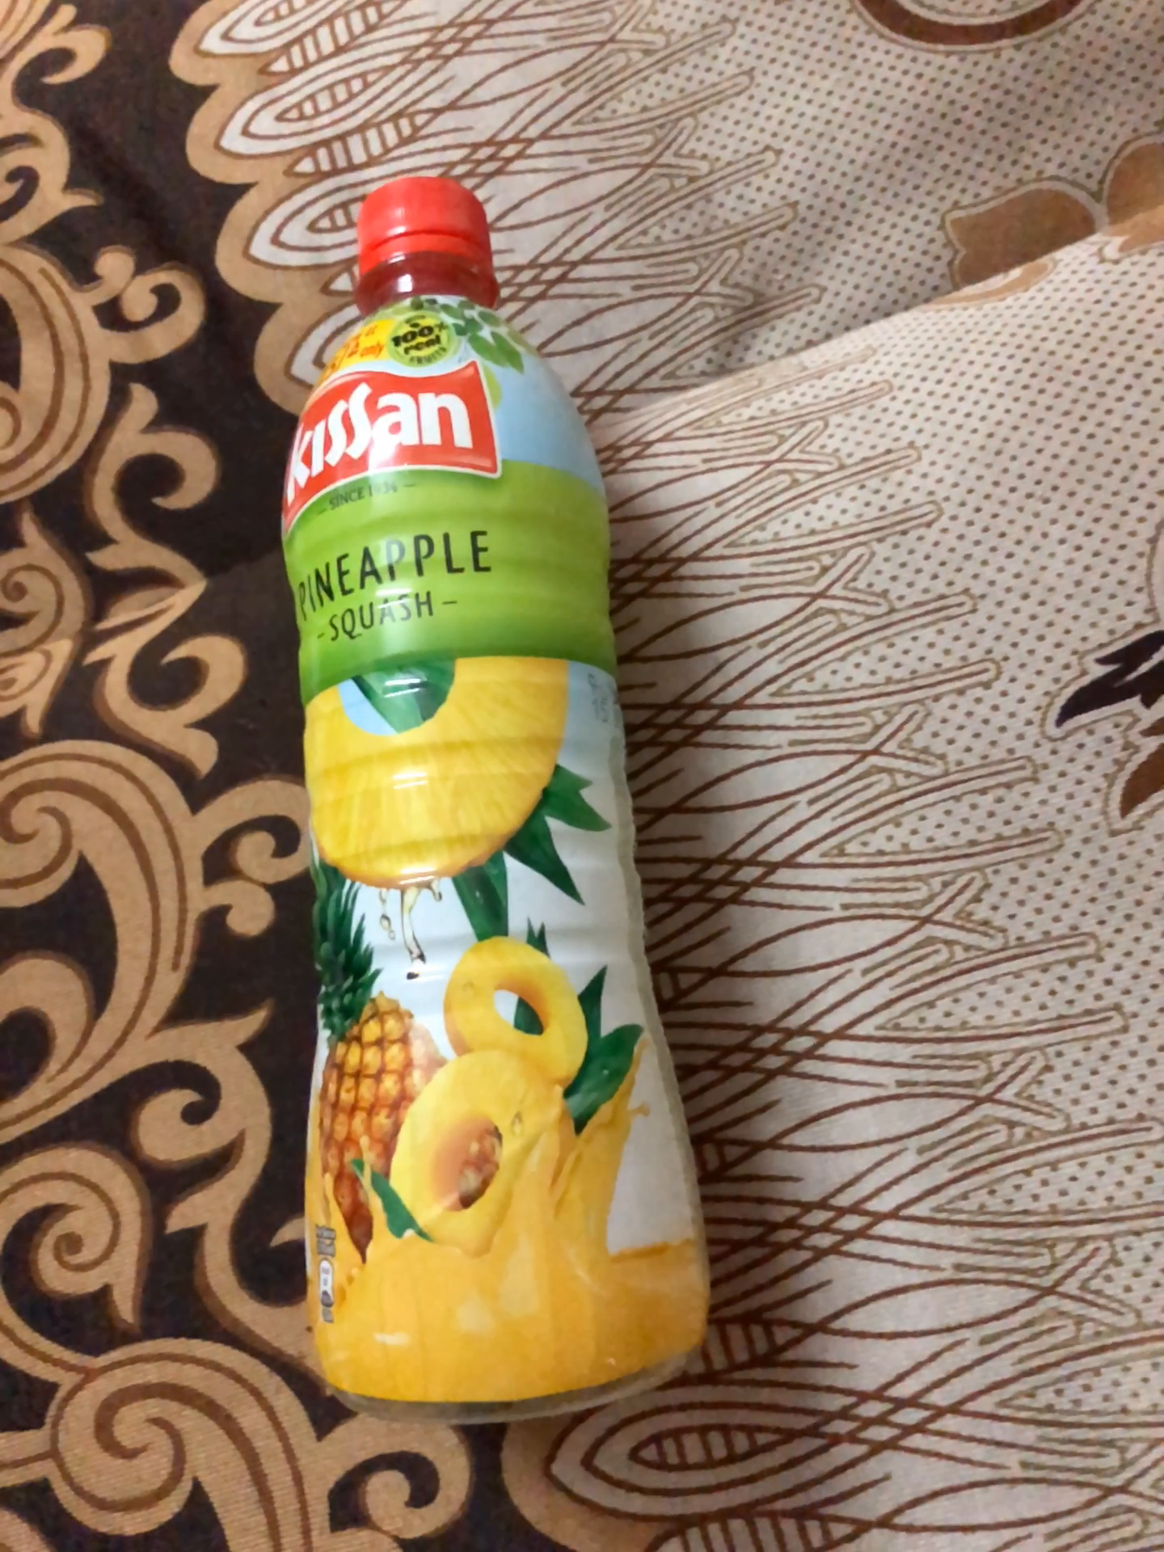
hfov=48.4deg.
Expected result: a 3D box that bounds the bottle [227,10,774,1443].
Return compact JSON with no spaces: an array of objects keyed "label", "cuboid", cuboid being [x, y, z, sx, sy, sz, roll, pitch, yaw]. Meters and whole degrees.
[{"label":"bottle","cuboid":[-0.016,-0.012,0.248,0.070,0.060,0.240,-8,78,14]}]
